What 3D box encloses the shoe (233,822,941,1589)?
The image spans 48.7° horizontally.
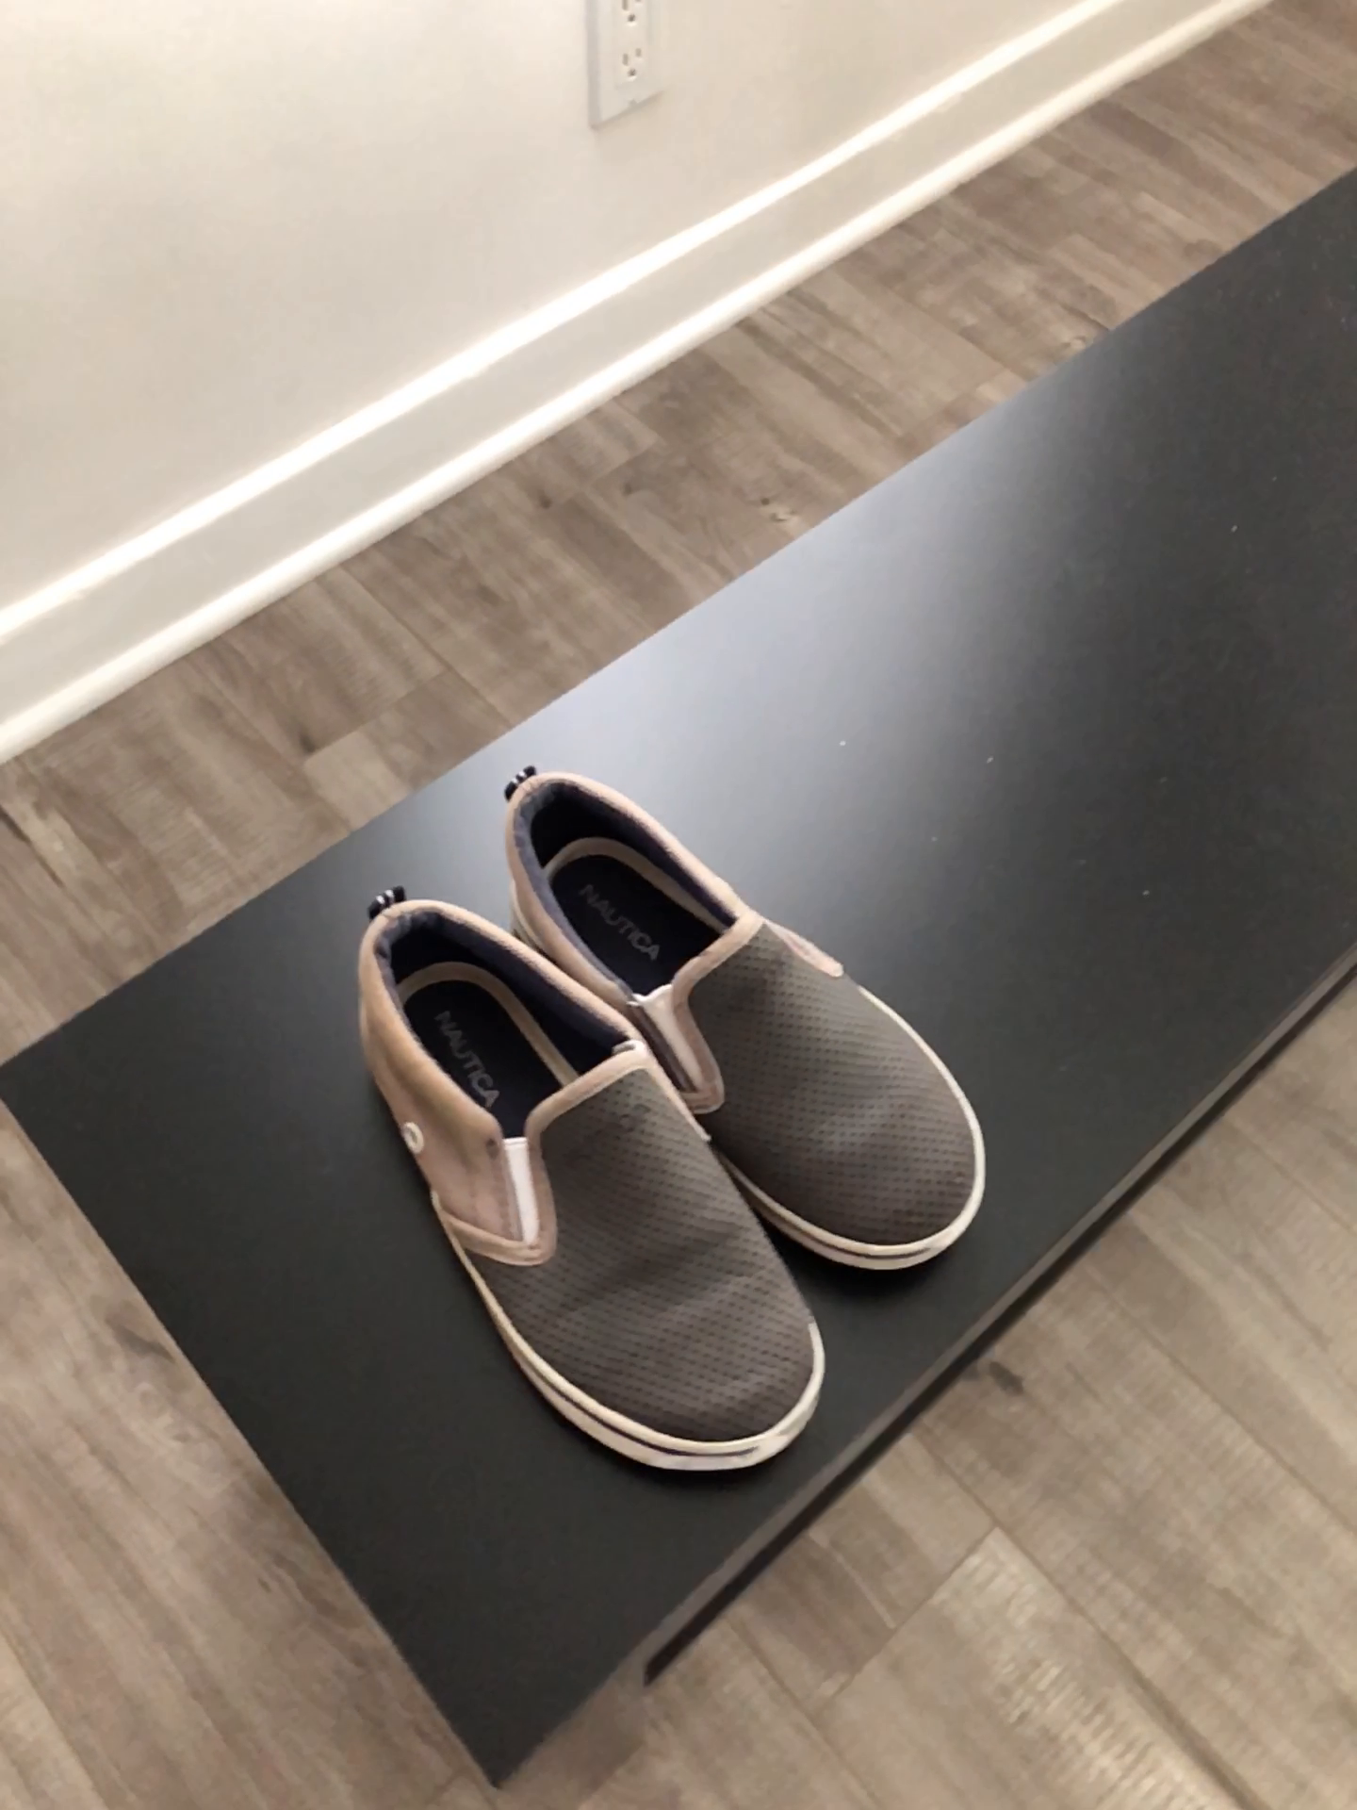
[{"bbox_3d":[-0.030,0.078,0.413,0.077,0.070,0.190,-36,66,-21],"label":"shoe"}]

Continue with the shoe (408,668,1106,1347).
[{"bbox_3d":[0.017,0.026,0.443,0.190,0.070,0.077,40,66,20],"label":"shoe"}]
